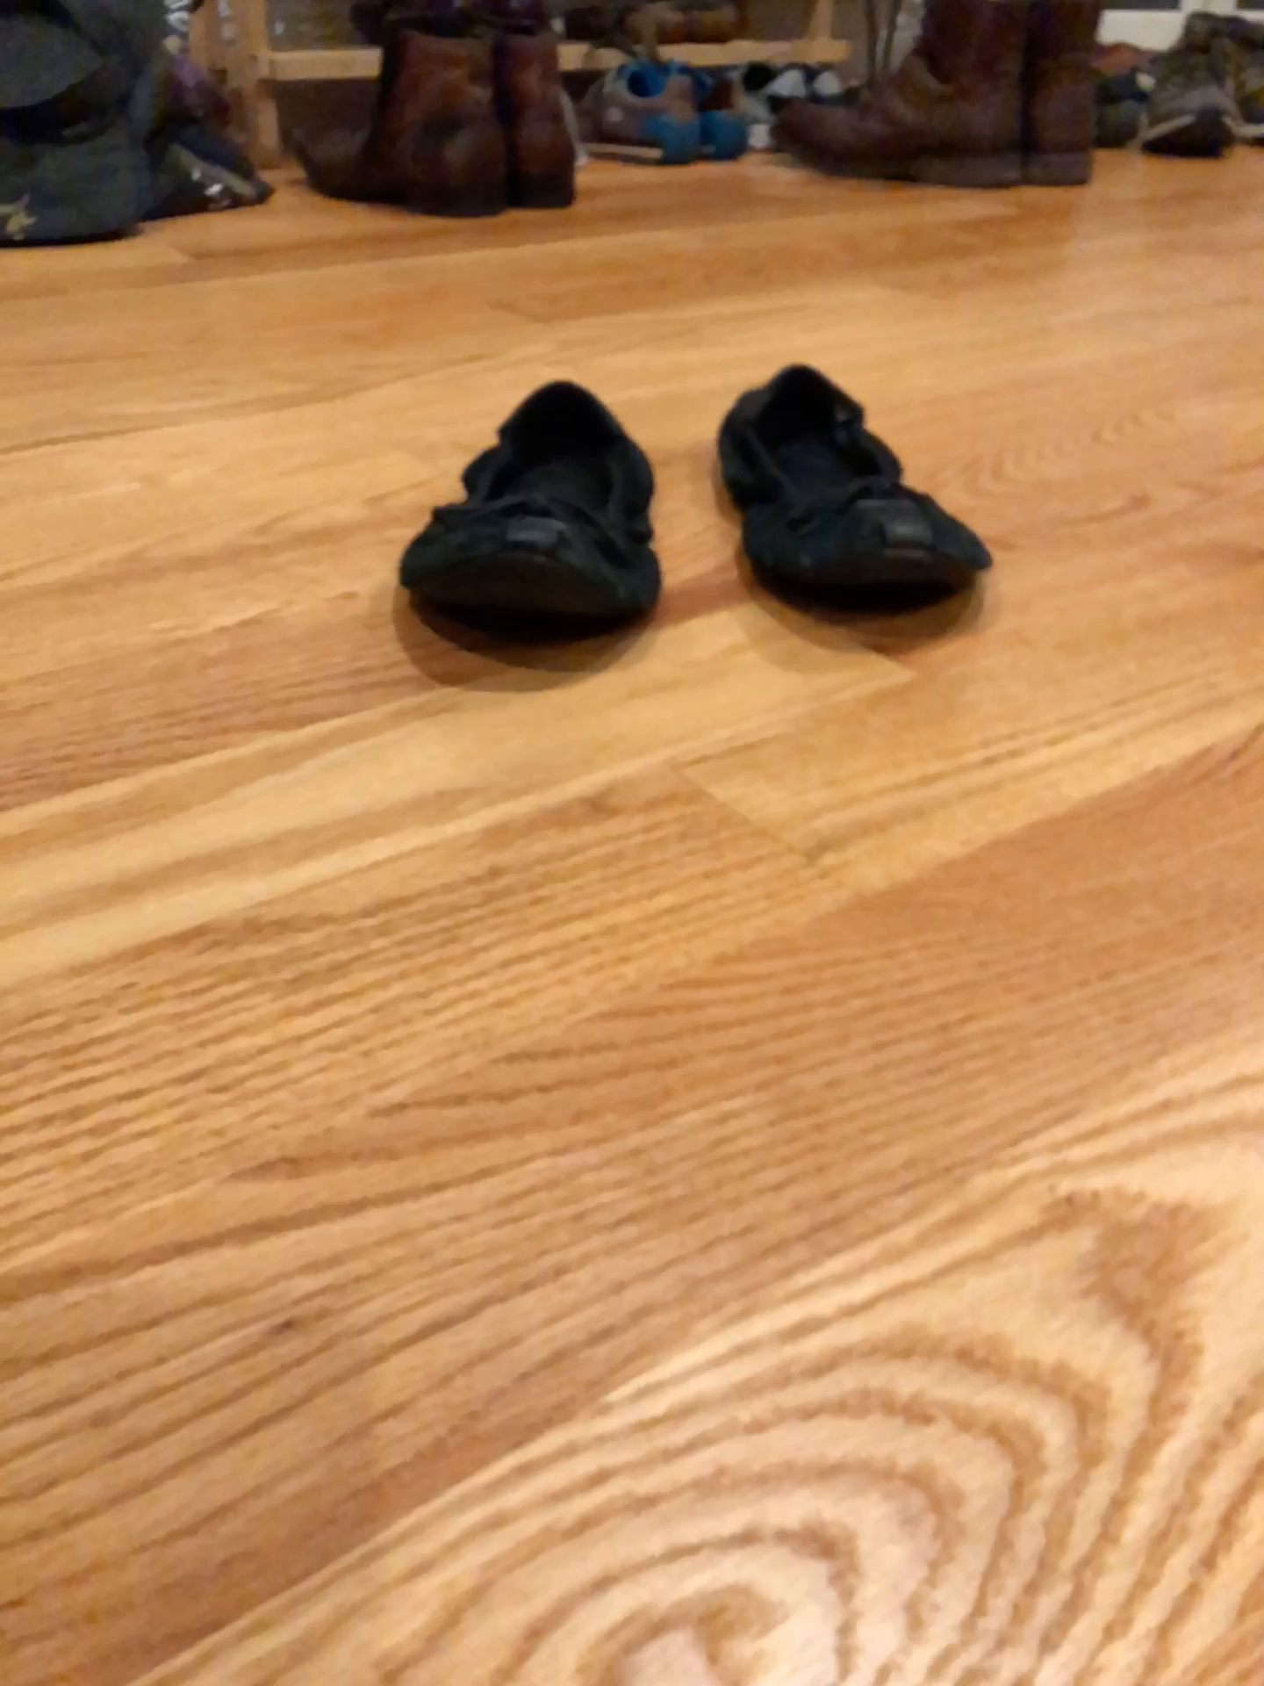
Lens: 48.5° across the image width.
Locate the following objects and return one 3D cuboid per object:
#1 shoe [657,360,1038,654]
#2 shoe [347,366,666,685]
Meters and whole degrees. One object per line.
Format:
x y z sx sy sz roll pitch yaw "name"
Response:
0.074 -0.145 0.569 0.093 0.046 0.221 -4 32 -7 "shoe"
-0.038 -0.133 0.547 0.100 0.050 0.221 1 32 0 "shoe"
